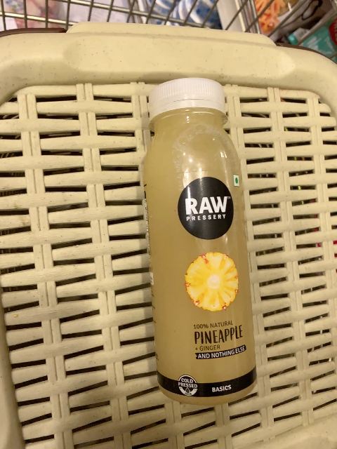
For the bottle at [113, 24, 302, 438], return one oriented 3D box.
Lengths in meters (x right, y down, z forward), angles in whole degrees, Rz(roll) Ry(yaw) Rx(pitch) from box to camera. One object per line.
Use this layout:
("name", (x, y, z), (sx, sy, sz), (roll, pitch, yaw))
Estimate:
("bottle", (0.014, 0.000, 0.168), (0.060, 0.050, 0.160), (-4, 86, -19))
